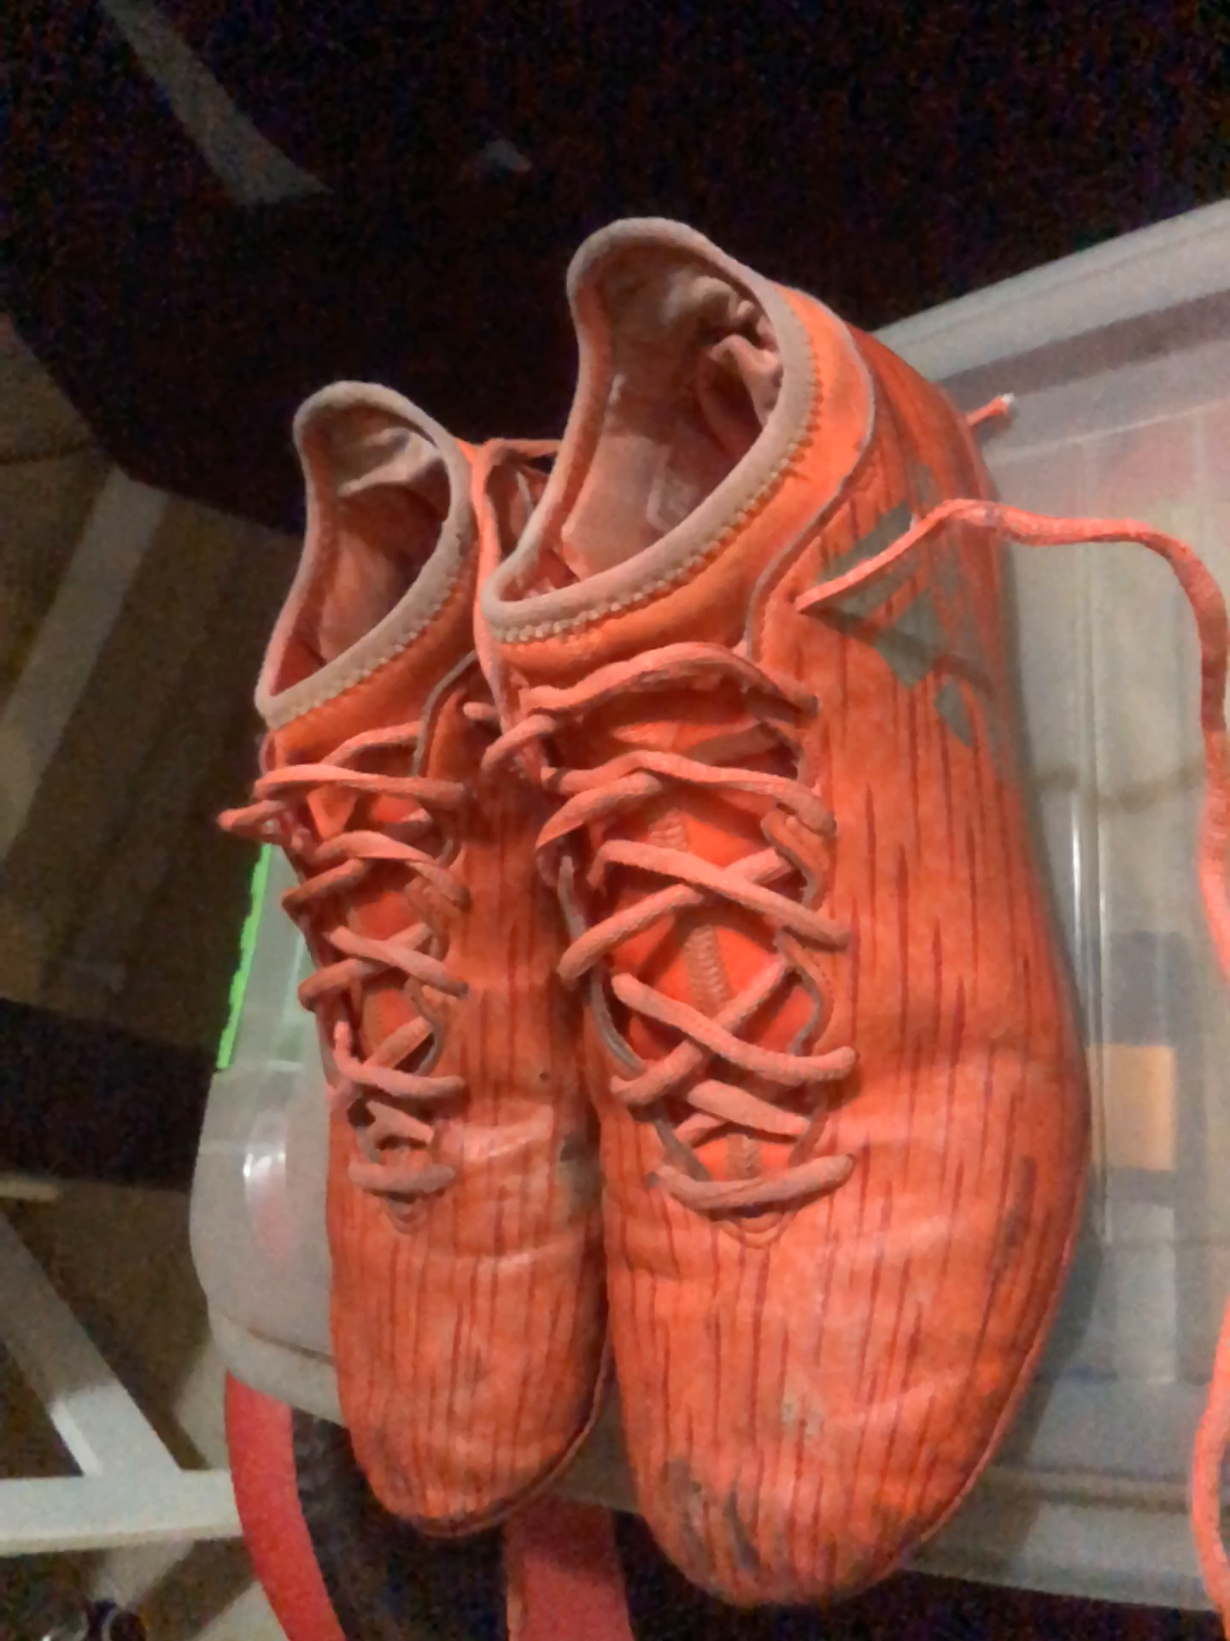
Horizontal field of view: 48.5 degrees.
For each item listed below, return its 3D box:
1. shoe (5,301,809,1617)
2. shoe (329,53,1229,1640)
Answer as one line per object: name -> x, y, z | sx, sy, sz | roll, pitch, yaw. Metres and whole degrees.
shoe -> -0.032, 0.032, 0.313 | 0.090, 0.129, 0.240 | -16, 62, 37
shoe -> 0.039, 0.010, 0.261 | 0.090, 0.129, 0.240 | -16, 62, 37
